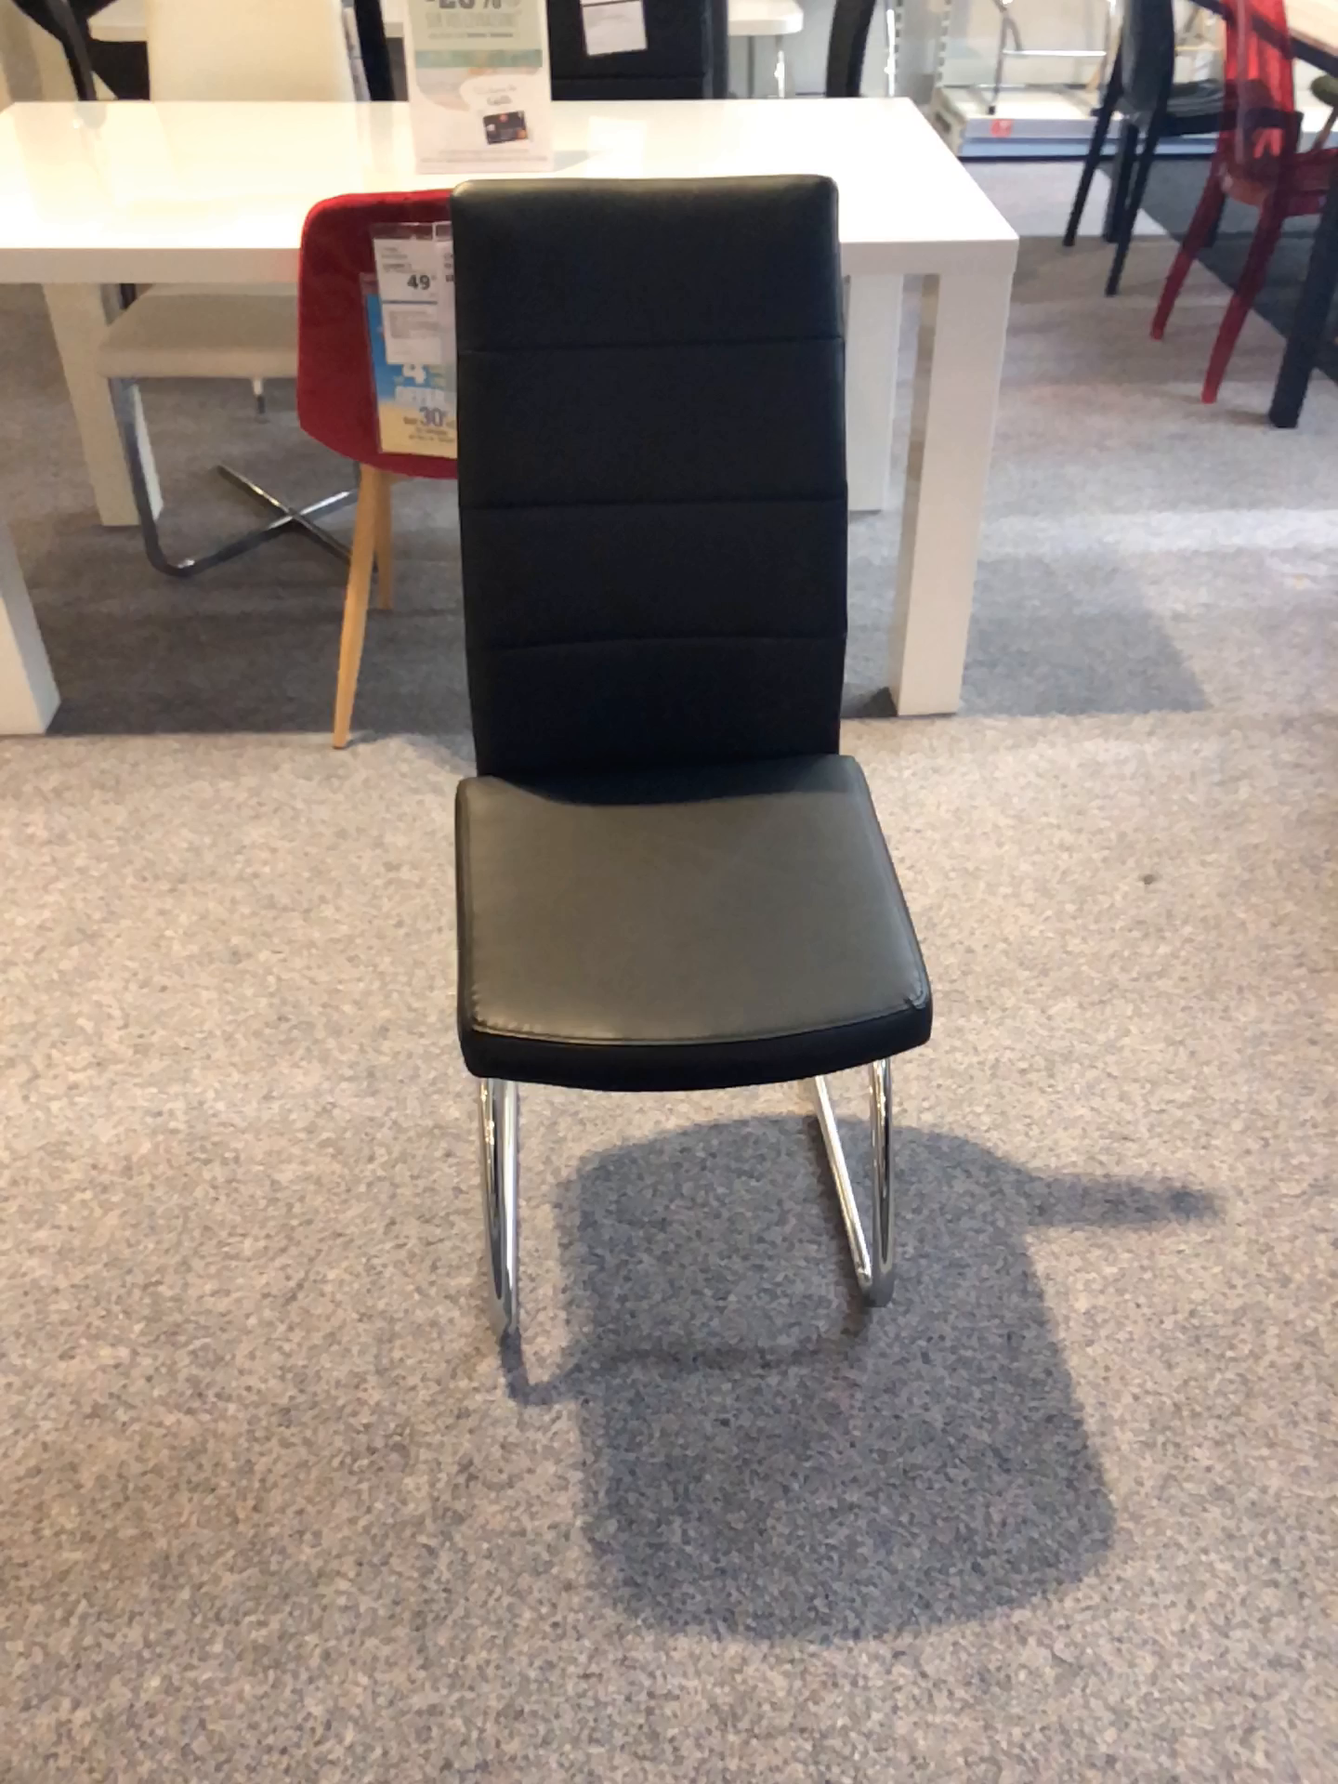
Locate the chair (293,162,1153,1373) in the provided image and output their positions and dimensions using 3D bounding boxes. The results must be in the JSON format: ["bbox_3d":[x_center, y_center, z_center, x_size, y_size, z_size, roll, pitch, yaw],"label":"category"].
[{"bbox_3d":[0.009,-0.096,1.330,0.490,0.905,0.563,-4,38,-5],"label":"chair"}]
